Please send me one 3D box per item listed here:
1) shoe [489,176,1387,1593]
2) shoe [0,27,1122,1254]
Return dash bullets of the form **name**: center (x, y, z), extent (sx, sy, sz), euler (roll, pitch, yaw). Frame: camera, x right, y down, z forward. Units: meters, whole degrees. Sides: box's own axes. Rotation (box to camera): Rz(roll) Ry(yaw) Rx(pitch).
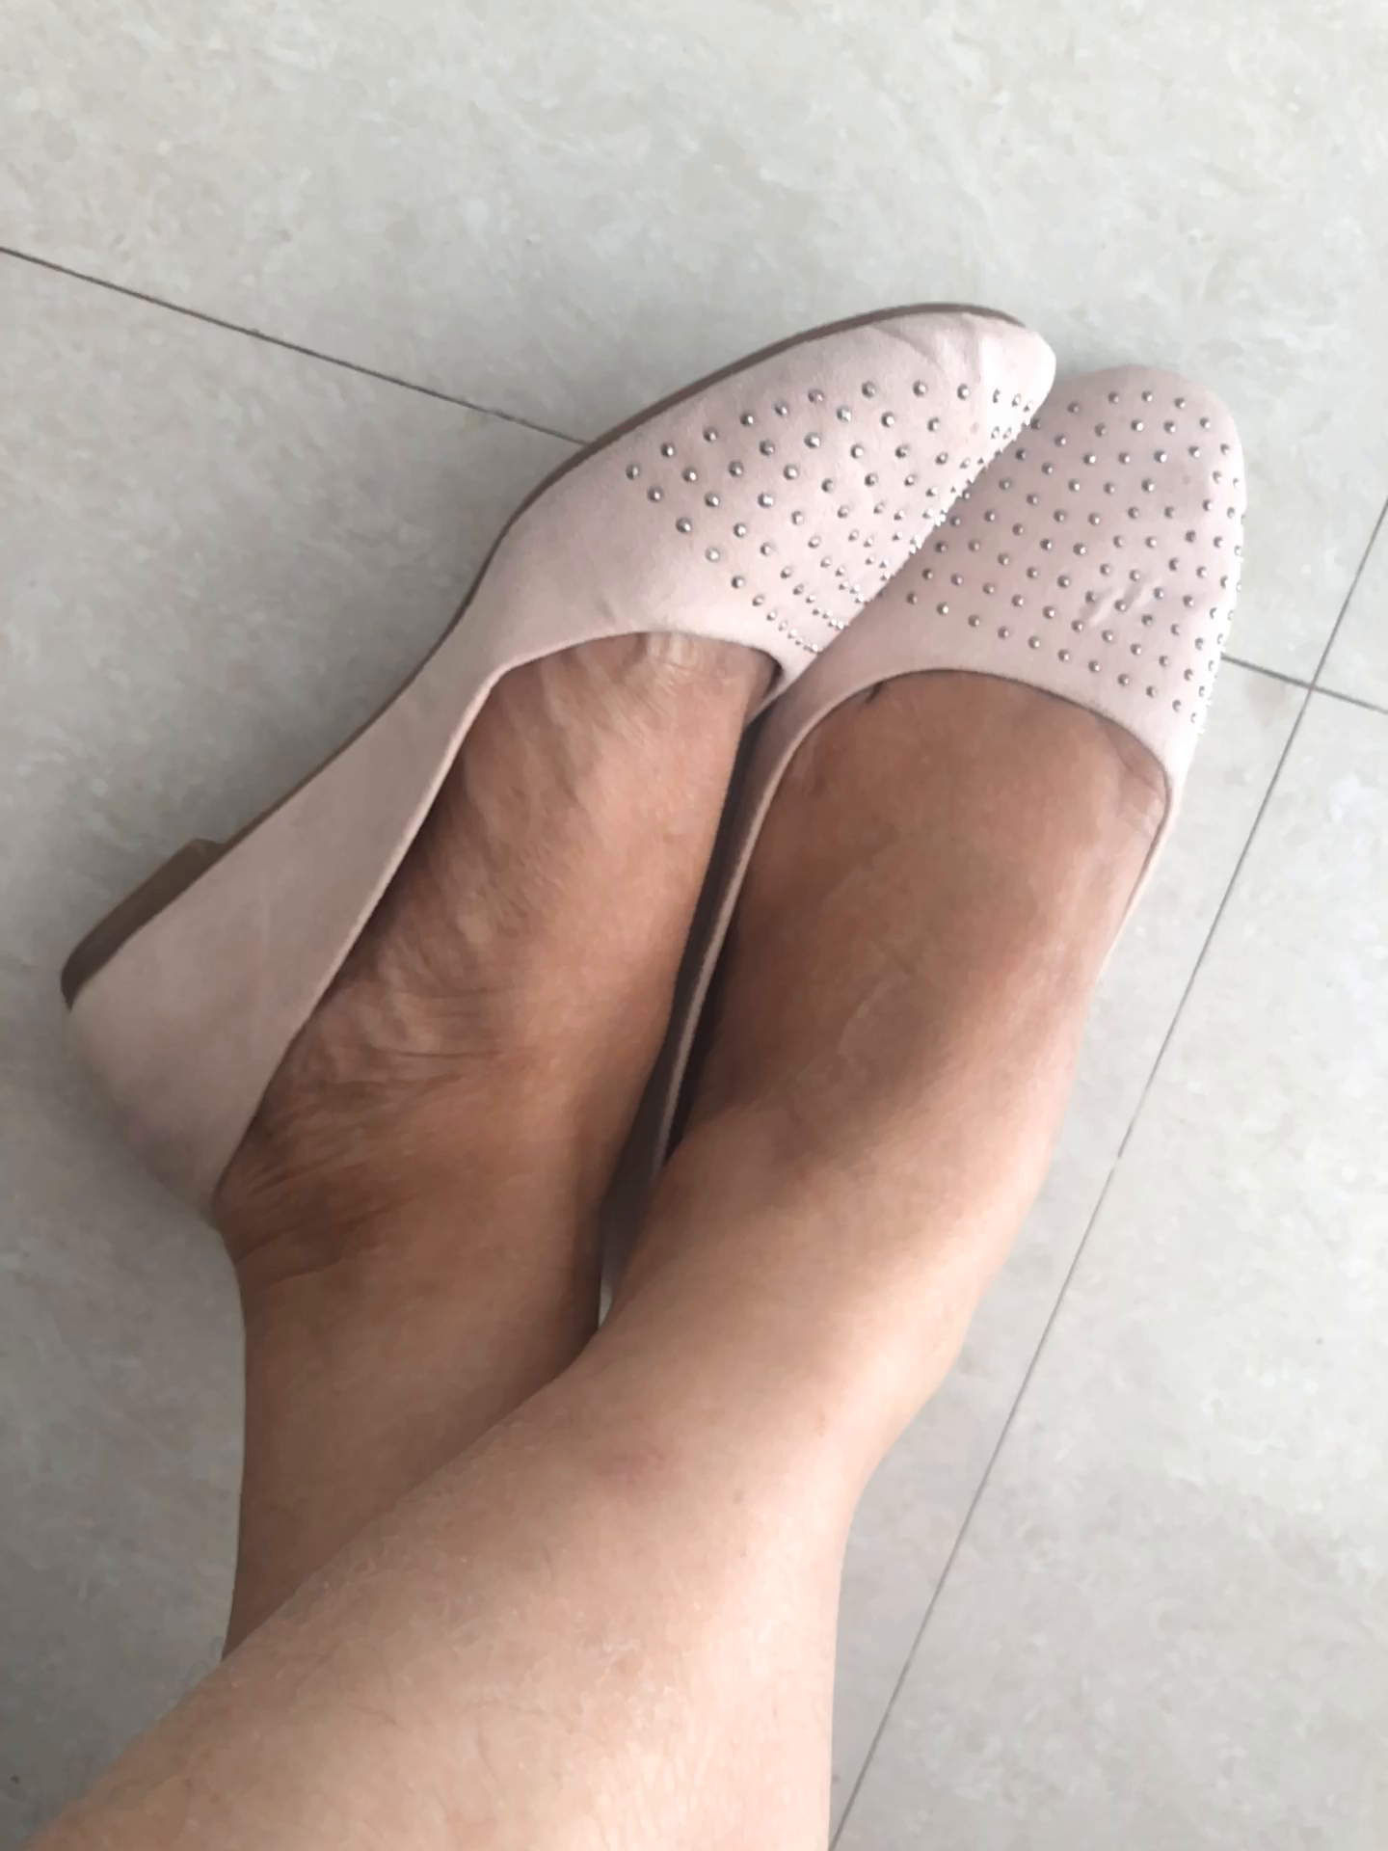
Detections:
- **shoe**: center (0.053, -0.002, 0.346), extent (0.100, 0.080, 0.270), euler (22, 102, -7)
- **shoe**: center (-0.031, -0.038, 0.314), extent (0.240, 0.090, 0.060), euler (-47, 64, 13)
